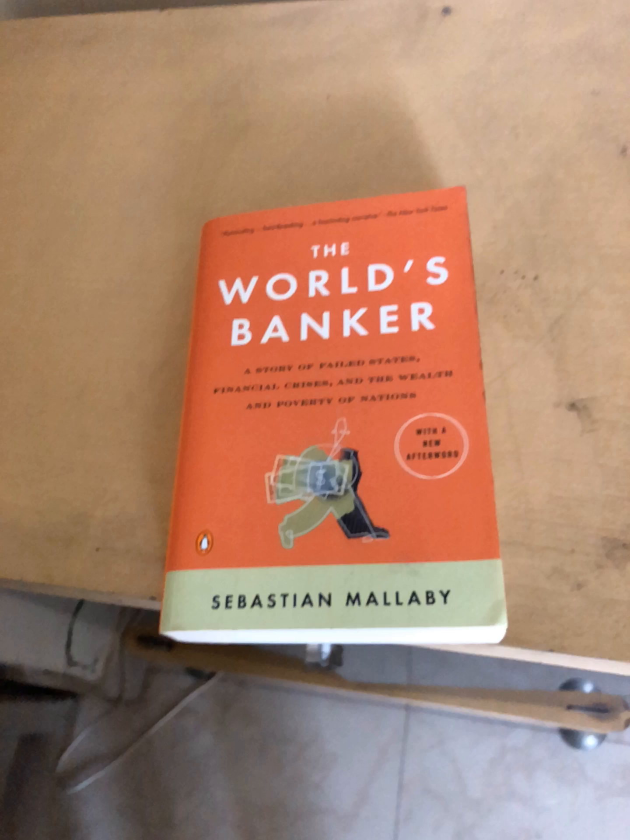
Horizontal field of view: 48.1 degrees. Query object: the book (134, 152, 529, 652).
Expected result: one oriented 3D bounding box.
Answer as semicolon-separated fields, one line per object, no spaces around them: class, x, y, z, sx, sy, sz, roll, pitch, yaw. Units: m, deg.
book;0.008;-0.016;0.308;0.140;0.030;0.220;-3;64;9
